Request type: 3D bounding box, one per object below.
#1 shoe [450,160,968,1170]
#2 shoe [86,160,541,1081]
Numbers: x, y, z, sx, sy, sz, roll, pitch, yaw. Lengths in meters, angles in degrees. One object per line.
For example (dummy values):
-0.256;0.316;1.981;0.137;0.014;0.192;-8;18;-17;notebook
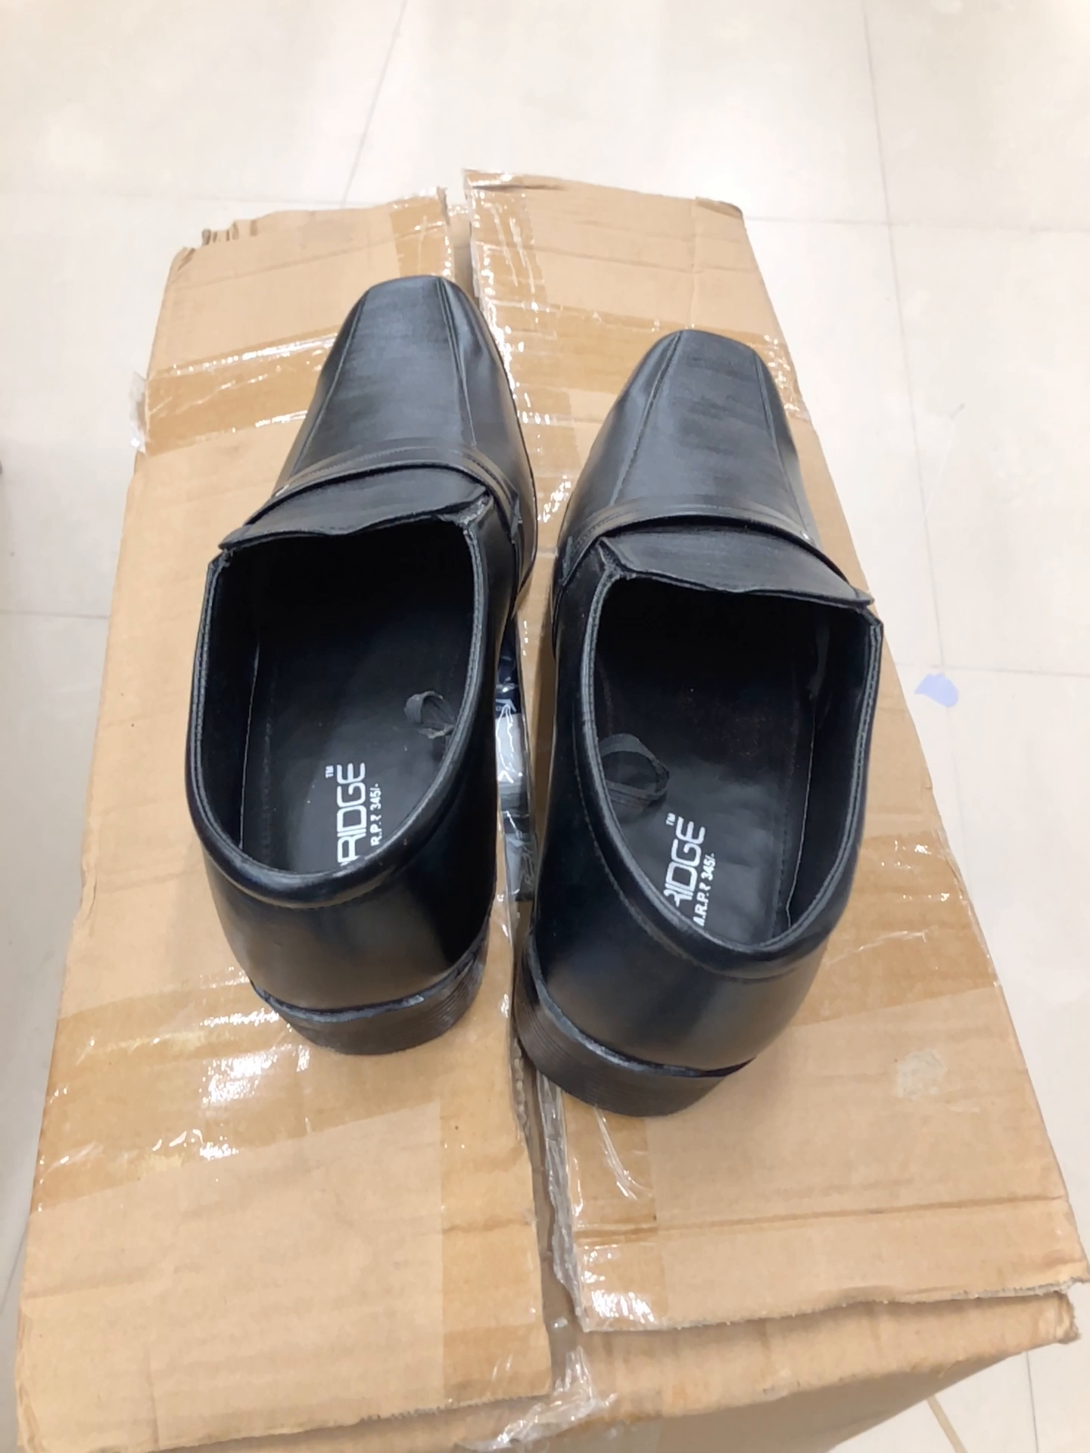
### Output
0.045;-0.032;0.406;0.100;0.129;0.312;10;56;-8;shoe
-0.054;-0.047;0.405;0.100;0.129;0.291;-1;56;0;shoe
